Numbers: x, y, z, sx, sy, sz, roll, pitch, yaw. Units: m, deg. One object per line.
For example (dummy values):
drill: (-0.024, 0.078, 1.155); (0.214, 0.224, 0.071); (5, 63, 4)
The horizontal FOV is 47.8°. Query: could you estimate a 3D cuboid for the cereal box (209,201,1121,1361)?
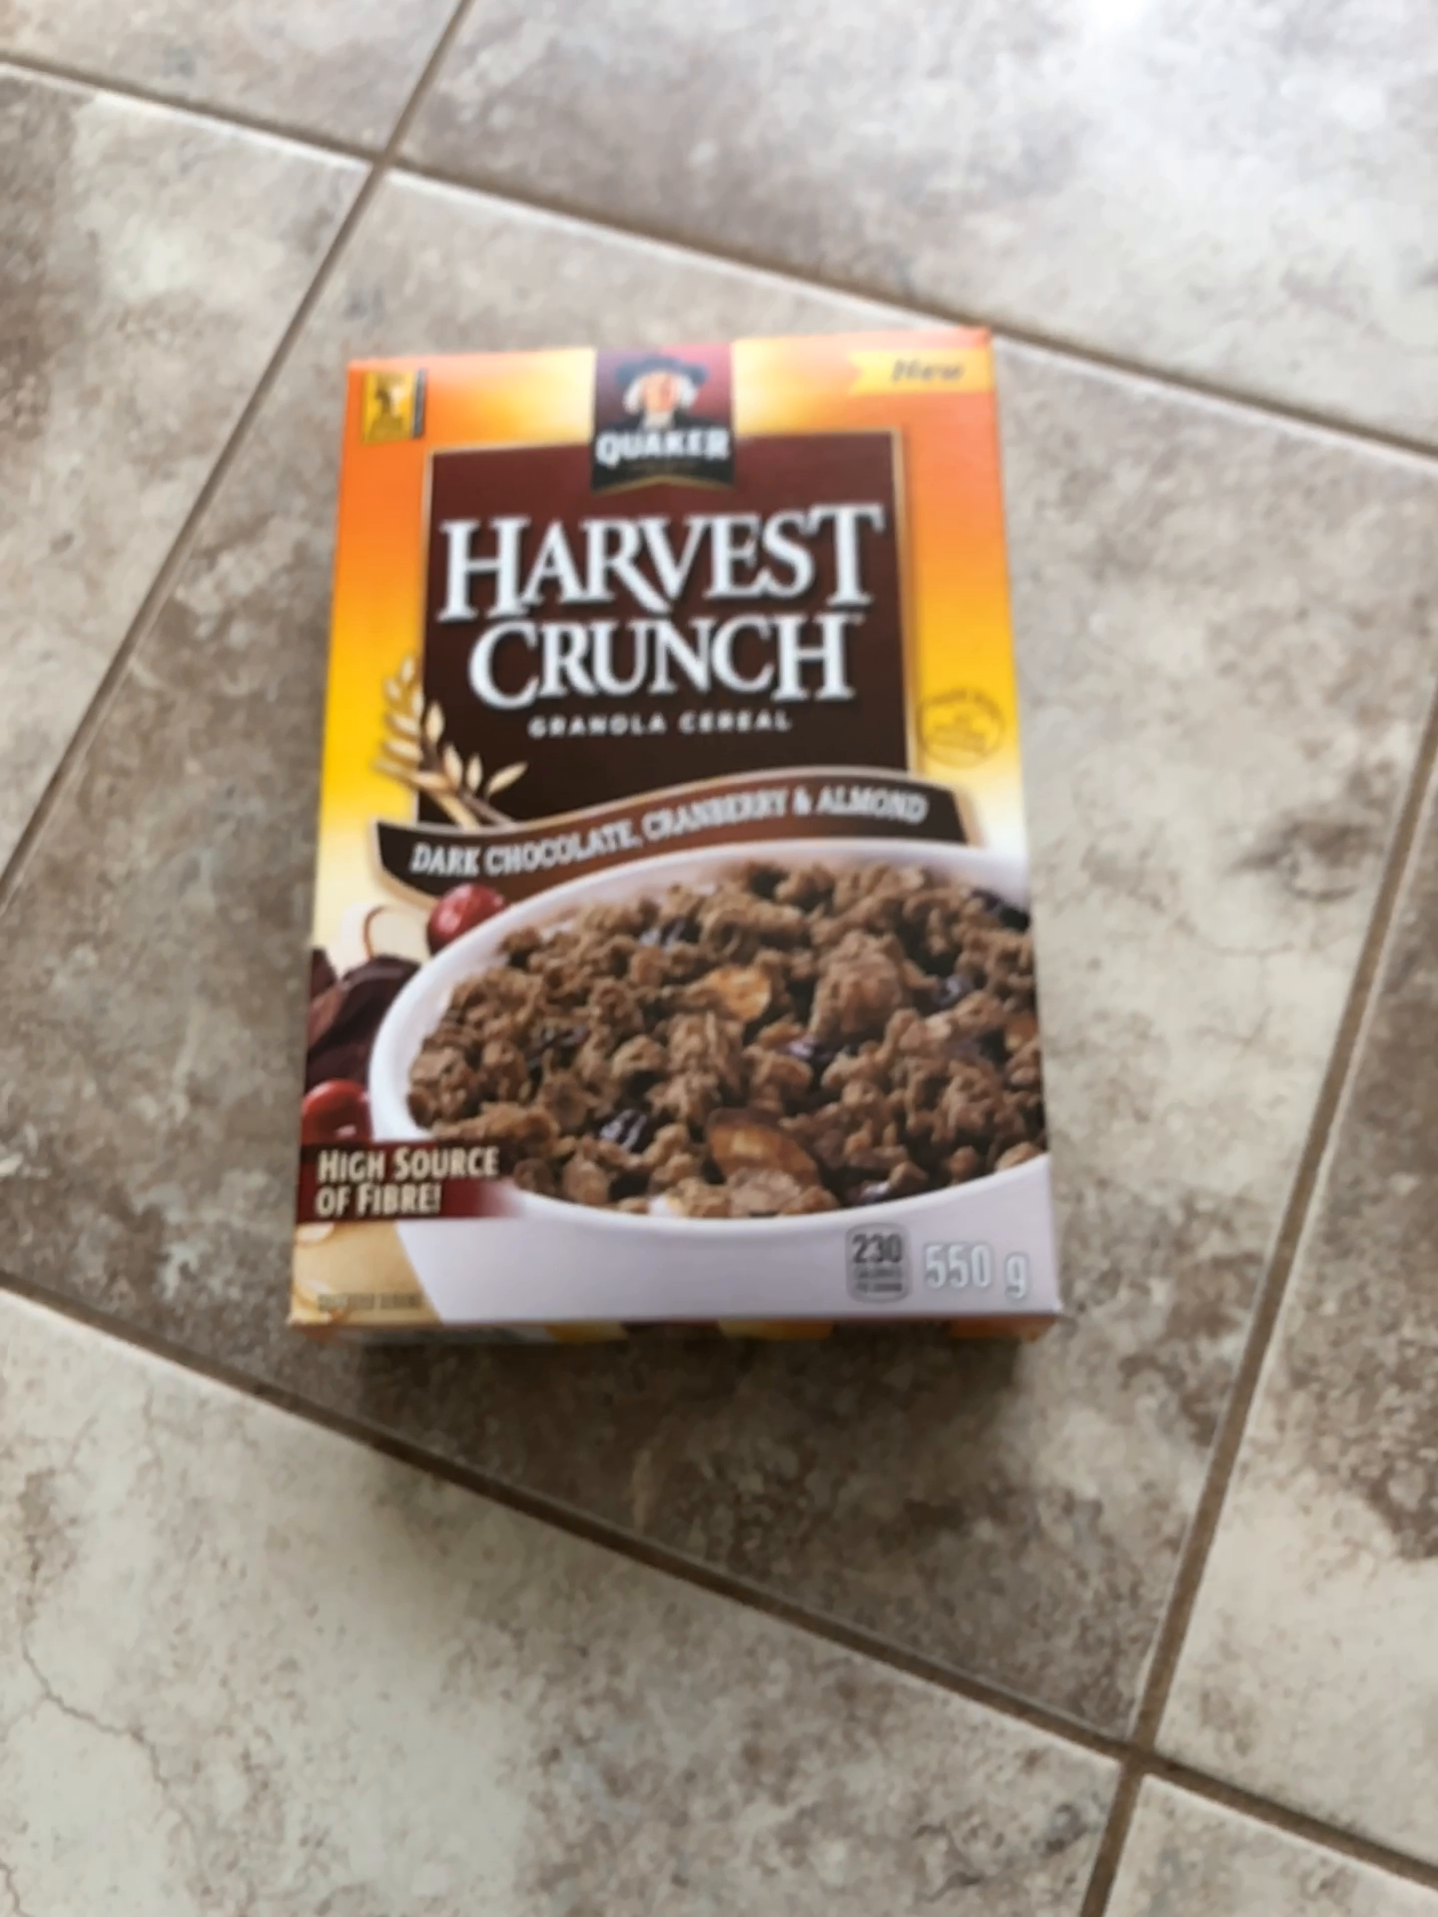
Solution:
cereal box: (-0.010, -0.040, 0.370); (0.170, 0.070, 0.250); (-2, 73, 4)
